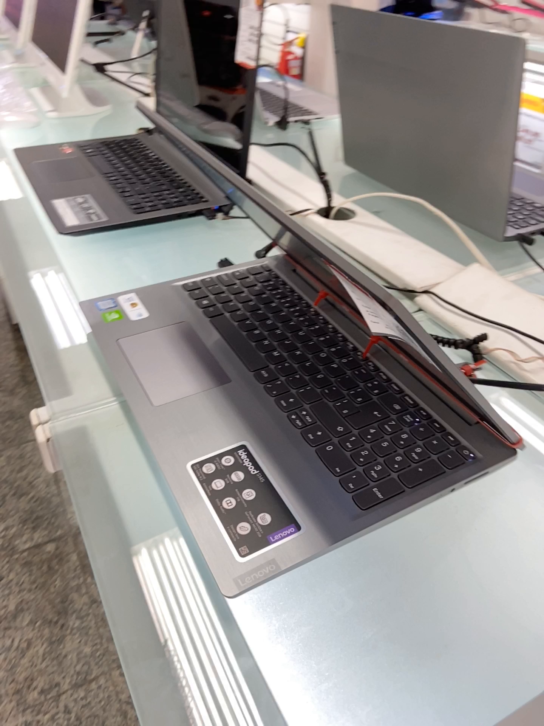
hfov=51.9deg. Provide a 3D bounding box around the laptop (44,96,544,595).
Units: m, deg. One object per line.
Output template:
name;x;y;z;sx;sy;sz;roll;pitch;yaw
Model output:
laptop;-0.004;-0.068;0.451;0.245;0.175;0.361;-18;41;-23
